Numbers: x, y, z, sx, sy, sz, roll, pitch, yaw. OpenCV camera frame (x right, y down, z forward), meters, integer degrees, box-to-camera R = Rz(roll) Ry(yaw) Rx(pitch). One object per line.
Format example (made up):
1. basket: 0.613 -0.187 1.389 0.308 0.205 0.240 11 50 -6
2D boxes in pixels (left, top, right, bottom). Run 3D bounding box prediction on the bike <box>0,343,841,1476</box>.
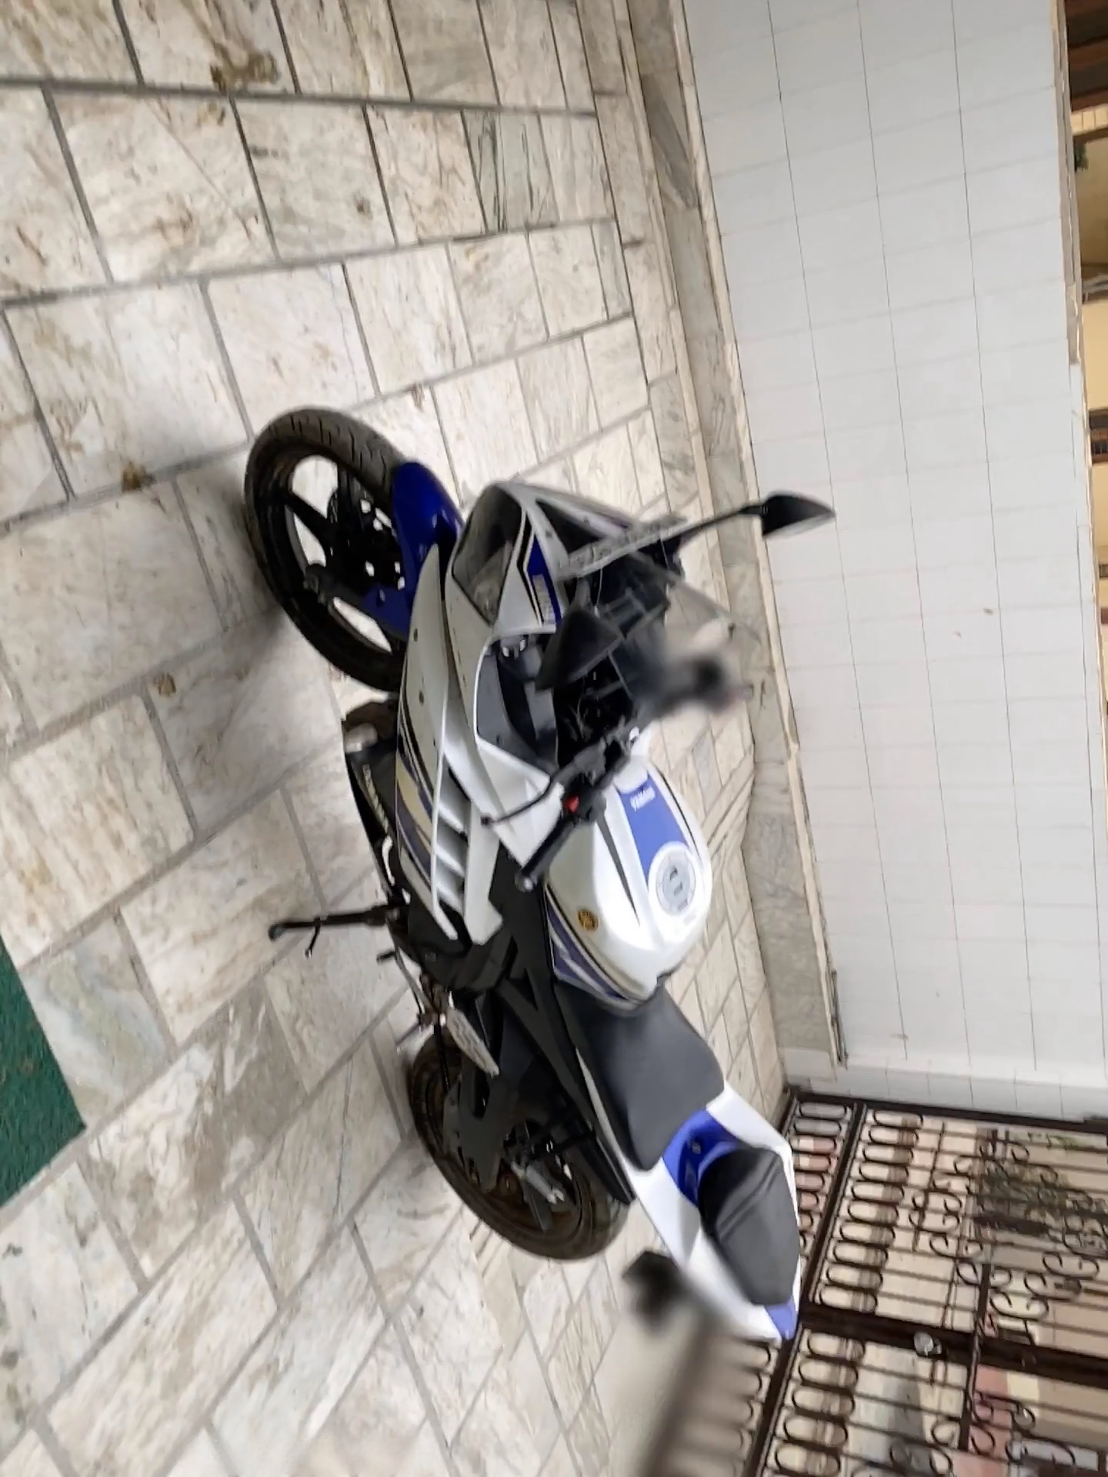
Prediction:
1. bike: -0.188 0.322 2.171 0.737 0.902 1.883 -43 121 -55
